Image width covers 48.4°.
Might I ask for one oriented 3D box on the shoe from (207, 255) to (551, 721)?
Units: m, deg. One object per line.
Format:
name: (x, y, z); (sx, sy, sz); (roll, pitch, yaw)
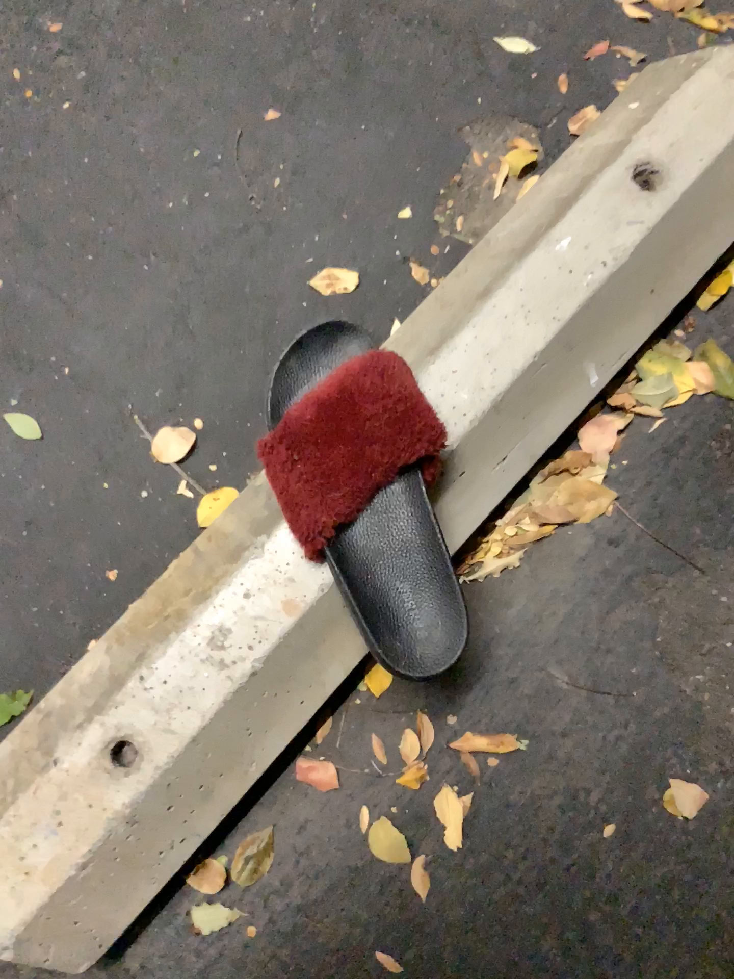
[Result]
shoe: (0.004, -0.004, 0.562); (0.140, 0.050, 0.280); (-19, 82, -5)
